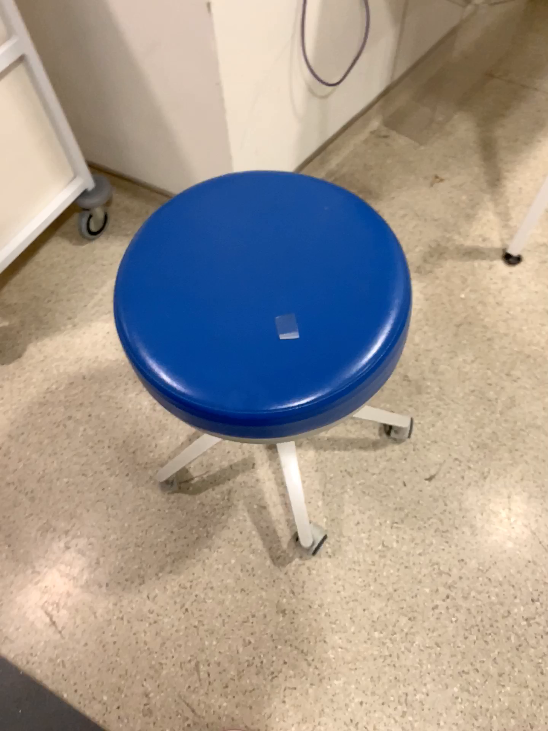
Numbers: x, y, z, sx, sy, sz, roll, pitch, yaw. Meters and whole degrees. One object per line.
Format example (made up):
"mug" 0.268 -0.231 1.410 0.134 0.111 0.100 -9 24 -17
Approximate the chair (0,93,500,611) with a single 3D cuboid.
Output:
"chair" -0.024 0.025 1.022 0.571 0.636 0.583 16 65 10
